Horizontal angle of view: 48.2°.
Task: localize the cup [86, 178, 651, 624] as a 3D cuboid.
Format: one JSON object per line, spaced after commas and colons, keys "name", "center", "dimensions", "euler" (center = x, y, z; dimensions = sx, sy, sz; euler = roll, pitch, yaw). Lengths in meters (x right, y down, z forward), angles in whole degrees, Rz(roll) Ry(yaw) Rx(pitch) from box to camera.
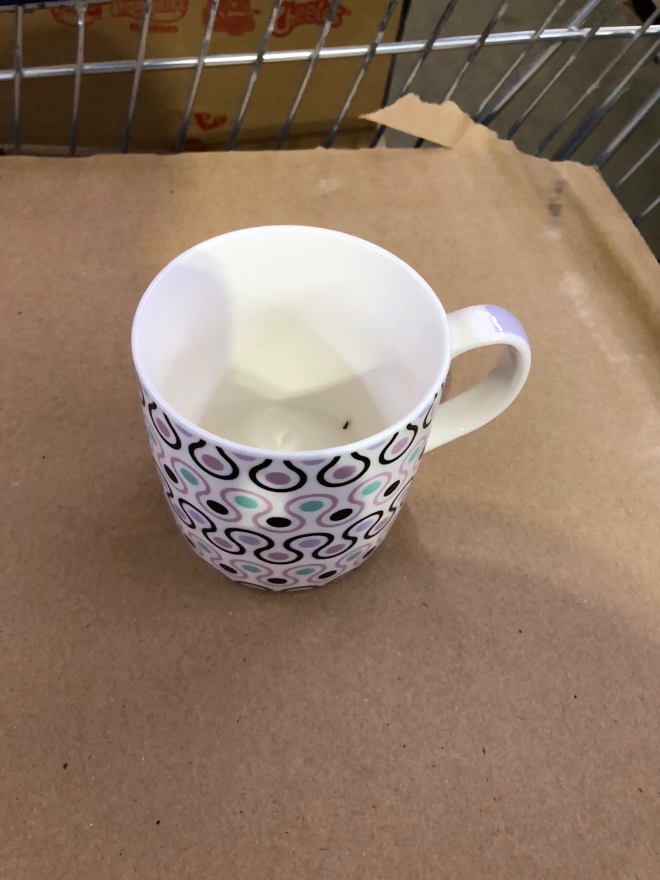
{"name": "cup", "center": [0.004, -0.014, 0.244], "dimensions": [0.140, 0.090, 0.090], "euler": [-10, 55, -13]}
